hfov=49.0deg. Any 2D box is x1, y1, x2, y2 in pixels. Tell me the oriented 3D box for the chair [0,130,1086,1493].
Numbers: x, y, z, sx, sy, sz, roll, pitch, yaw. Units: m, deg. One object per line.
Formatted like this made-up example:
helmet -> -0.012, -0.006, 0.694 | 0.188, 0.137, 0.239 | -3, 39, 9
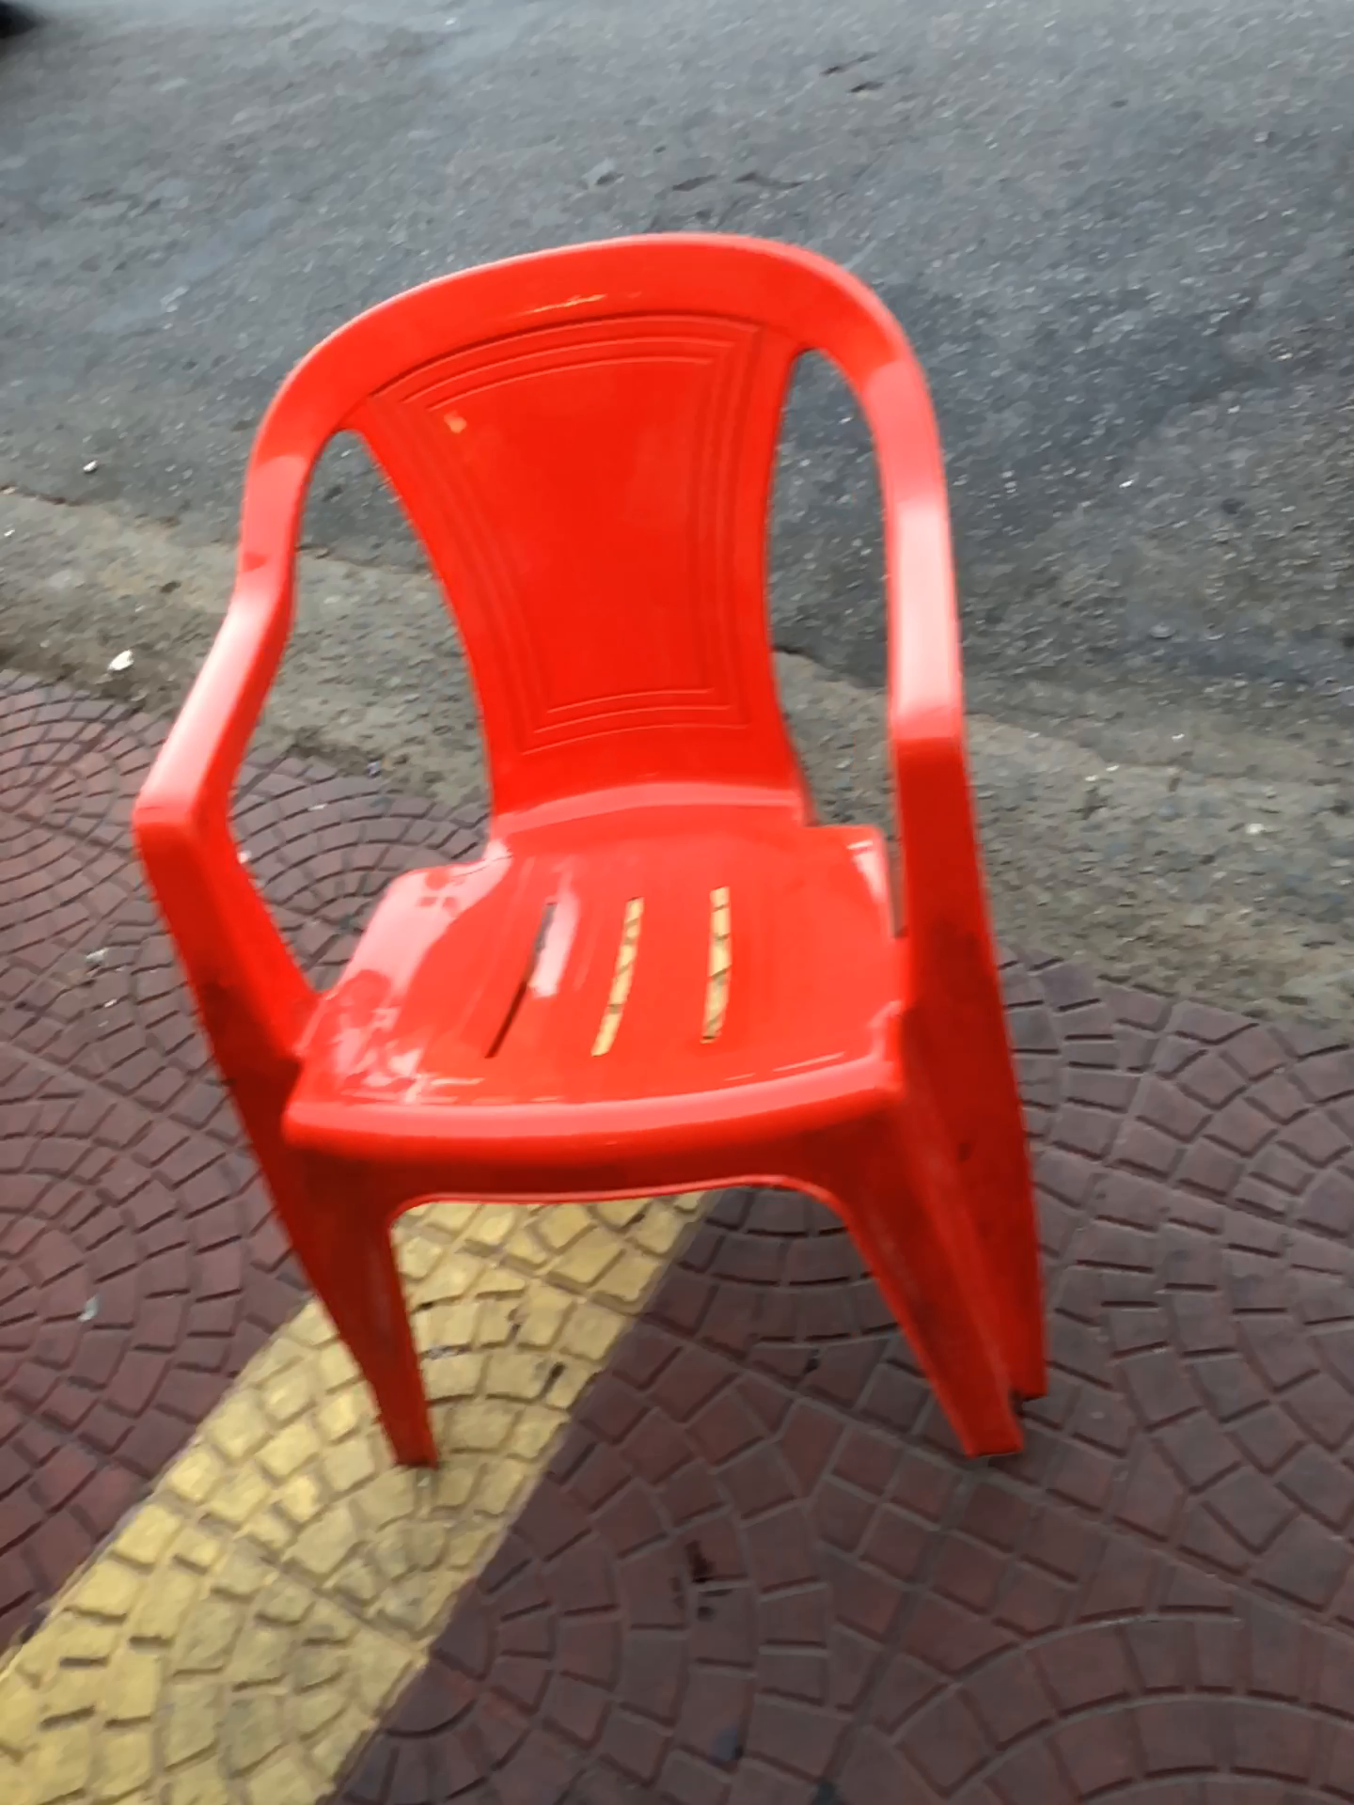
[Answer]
chair -> -0.038, -0.011, 1.089 | 0.570, 0.794, 0.544 | -4, 44, 10
